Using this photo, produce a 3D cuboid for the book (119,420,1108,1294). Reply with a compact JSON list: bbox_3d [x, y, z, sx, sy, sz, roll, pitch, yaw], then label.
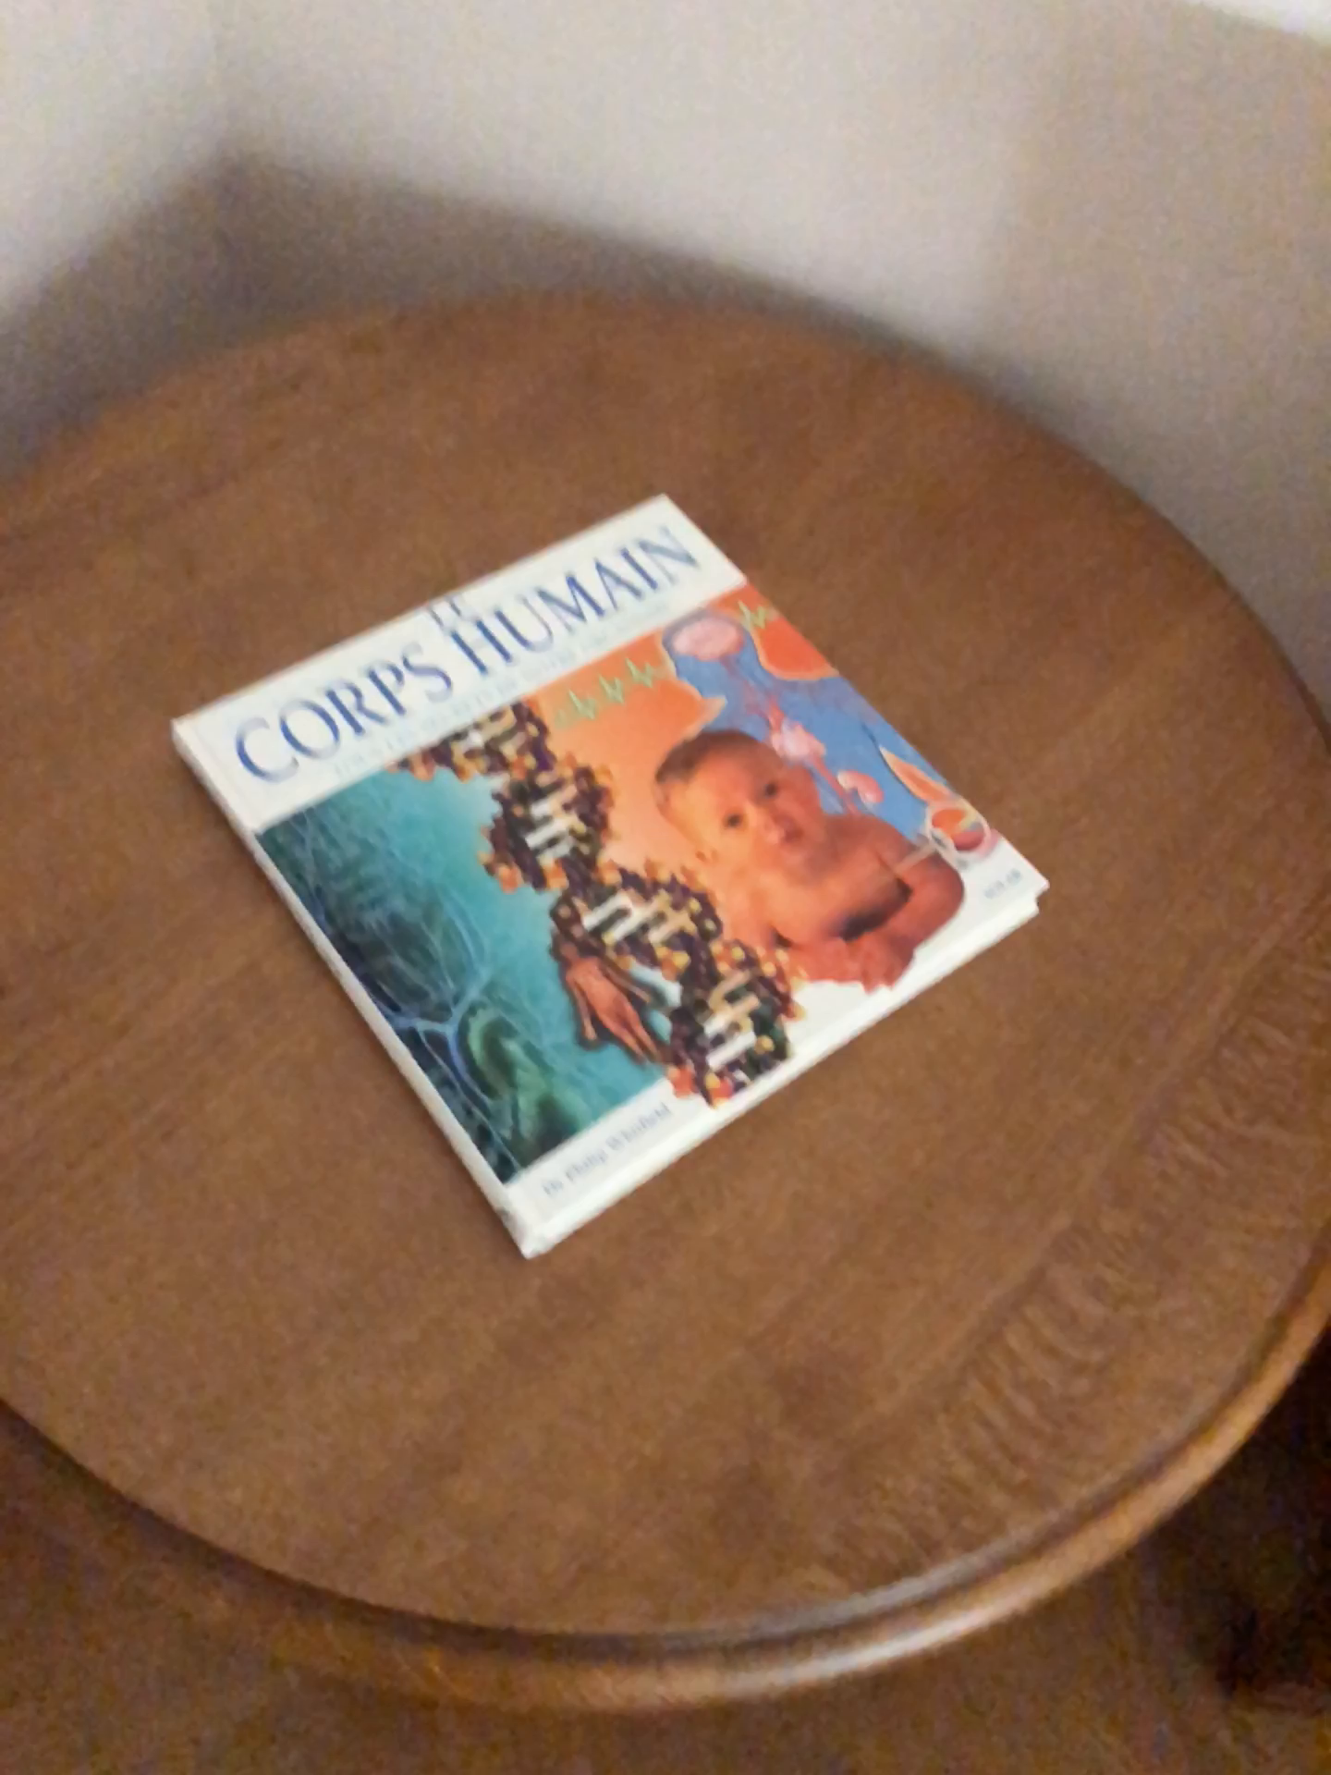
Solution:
[{"bbox_3d":[-0.023,-0.038,0.591,0.271,0.040,0.290,-31,67,-22],"label":"book"}]
